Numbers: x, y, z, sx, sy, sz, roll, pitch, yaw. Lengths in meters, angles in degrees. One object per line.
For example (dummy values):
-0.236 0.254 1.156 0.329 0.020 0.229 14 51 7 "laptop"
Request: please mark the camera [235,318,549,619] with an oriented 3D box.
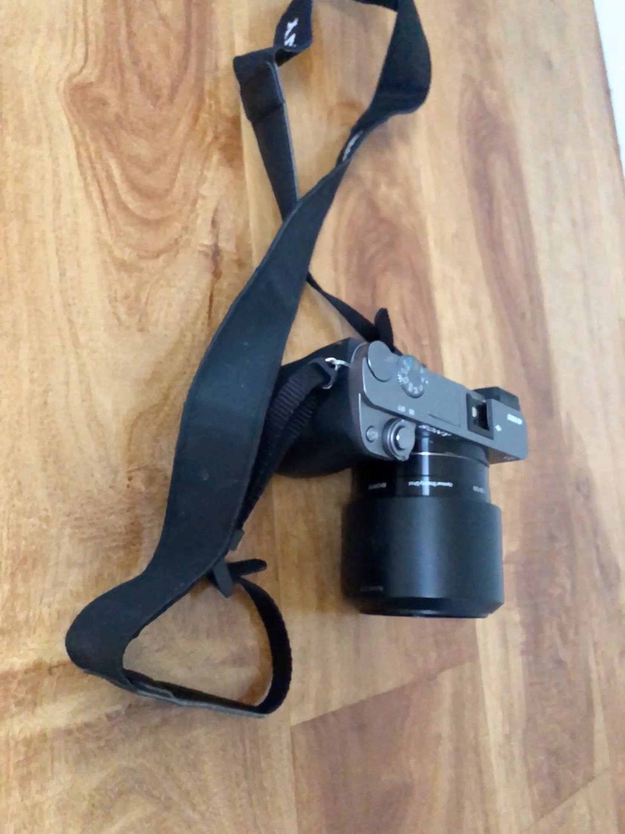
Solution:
0.040 0.035 0.322 0.131 0.070 0.110 16 68 -42 "camera"
